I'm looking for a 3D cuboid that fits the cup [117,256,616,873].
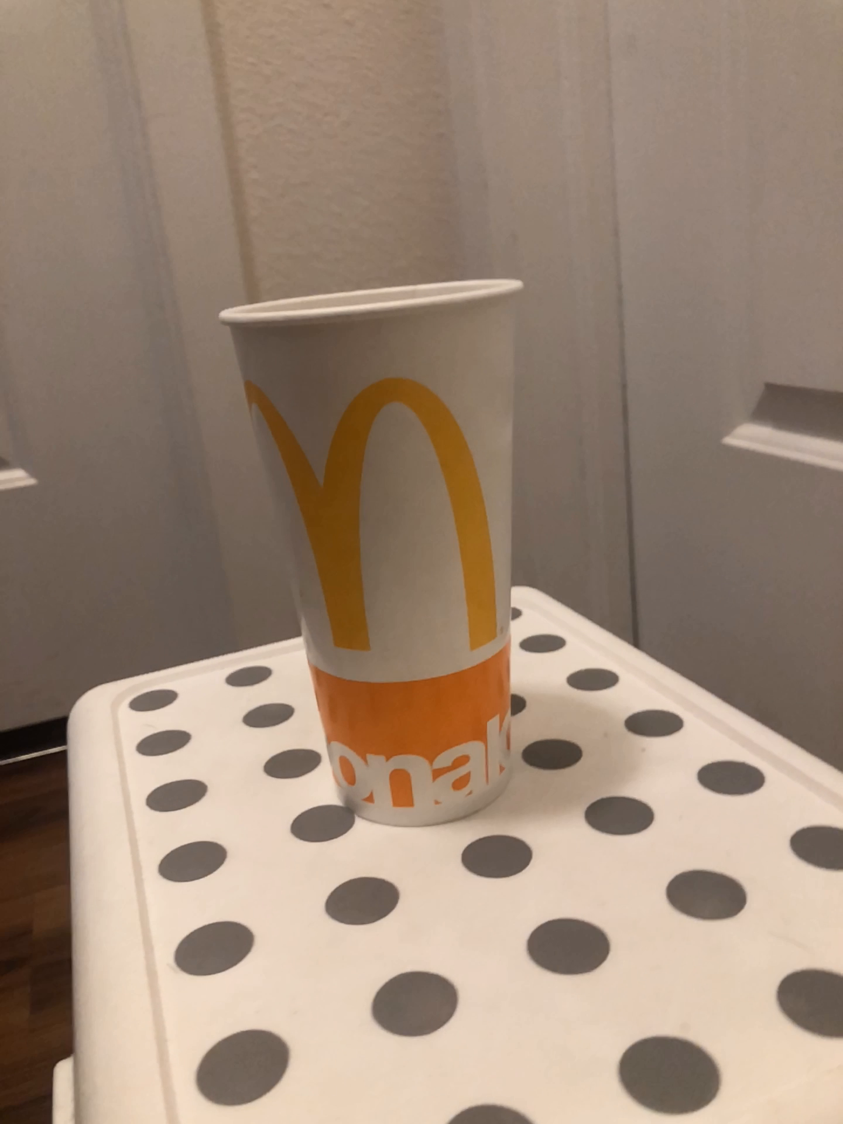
[{"bbox_3d":[-0.008,-0.008,0.299,0.100,0.155,0.099,-7,18,2],"label":"cup"}]
